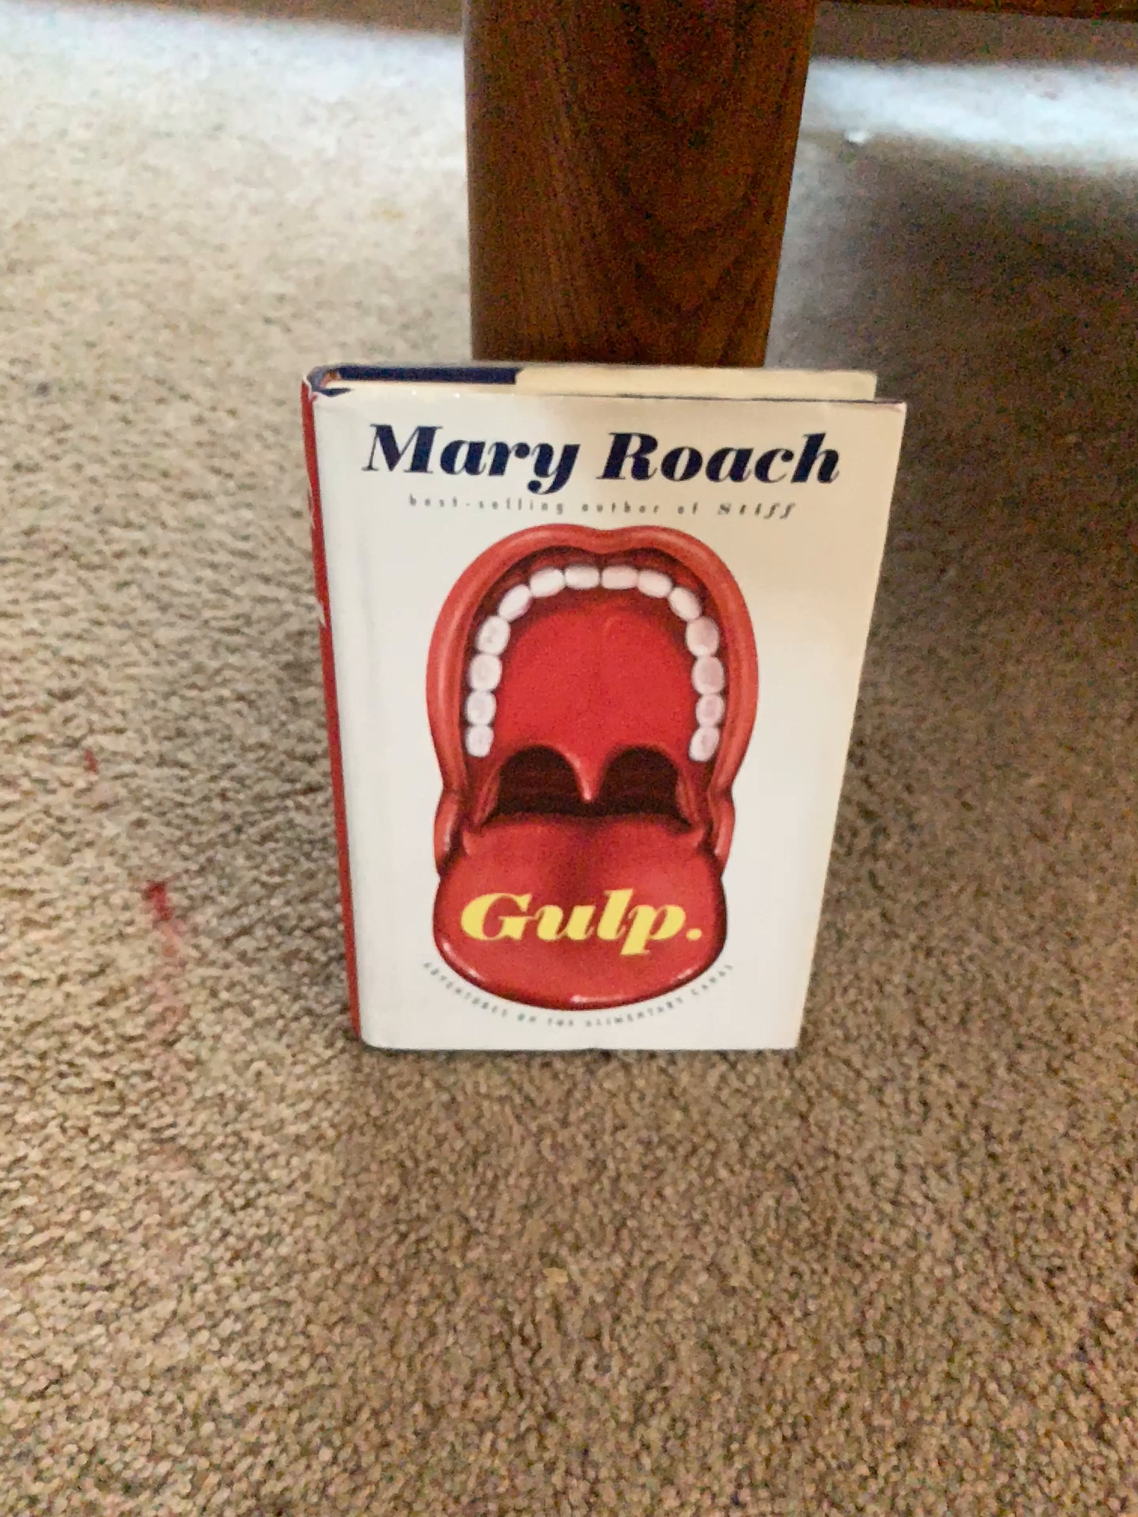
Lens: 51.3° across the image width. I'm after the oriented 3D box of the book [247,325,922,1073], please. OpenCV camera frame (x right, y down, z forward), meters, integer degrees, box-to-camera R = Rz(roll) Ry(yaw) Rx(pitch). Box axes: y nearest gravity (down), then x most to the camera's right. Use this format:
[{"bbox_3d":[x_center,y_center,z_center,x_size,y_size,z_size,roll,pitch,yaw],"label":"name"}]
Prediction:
[{"bbox_3d":[0.001,-0.004,0.356,0.160,0.229,0.040,1,31,-1],"label":"book"}]
